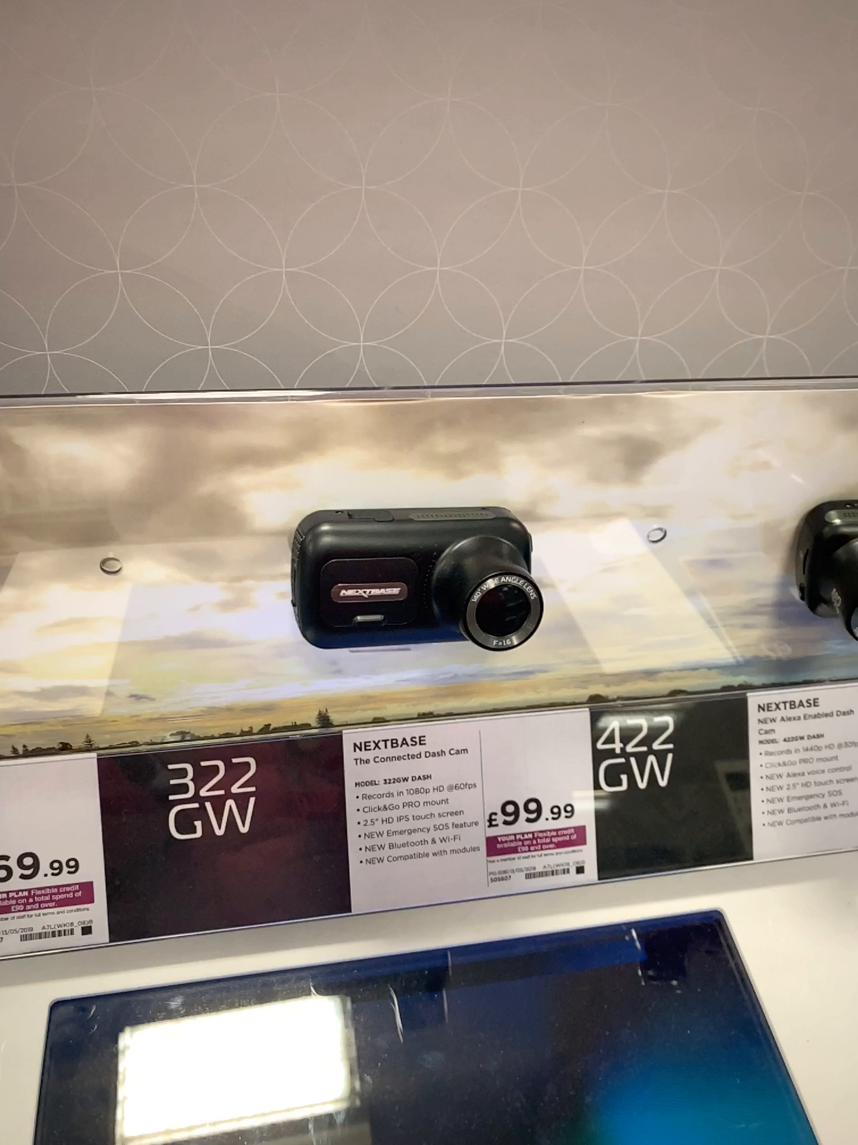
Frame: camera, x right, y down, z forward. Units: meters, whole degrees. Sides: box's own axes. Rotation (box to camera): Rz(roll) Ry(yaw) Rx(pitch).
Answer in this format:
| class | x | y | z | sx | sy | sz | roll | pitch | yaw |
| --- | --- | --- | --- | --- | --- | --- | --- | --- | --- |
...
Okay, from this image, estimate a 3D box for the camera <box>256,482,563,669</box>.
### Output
| class | x | y | z | sx | sy | sz | roll | pitch | yaw |
| --- | --- | --- | --- | --- | --- | --- | --- | --- | --- |
| camera | -0.010 | -0.003 | 0.297 | 0.090 | 0.040 | 0.070 | -2 | 17 | -8 |
